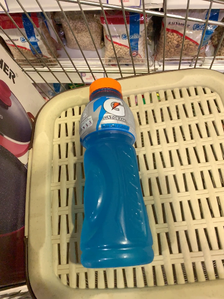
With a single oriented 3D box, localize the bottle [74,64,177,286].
[{"bbox_3d":[0.001,0.016,0.244,0.080,0.060,0.210,0,67,-10],"label":"bottle"}]
